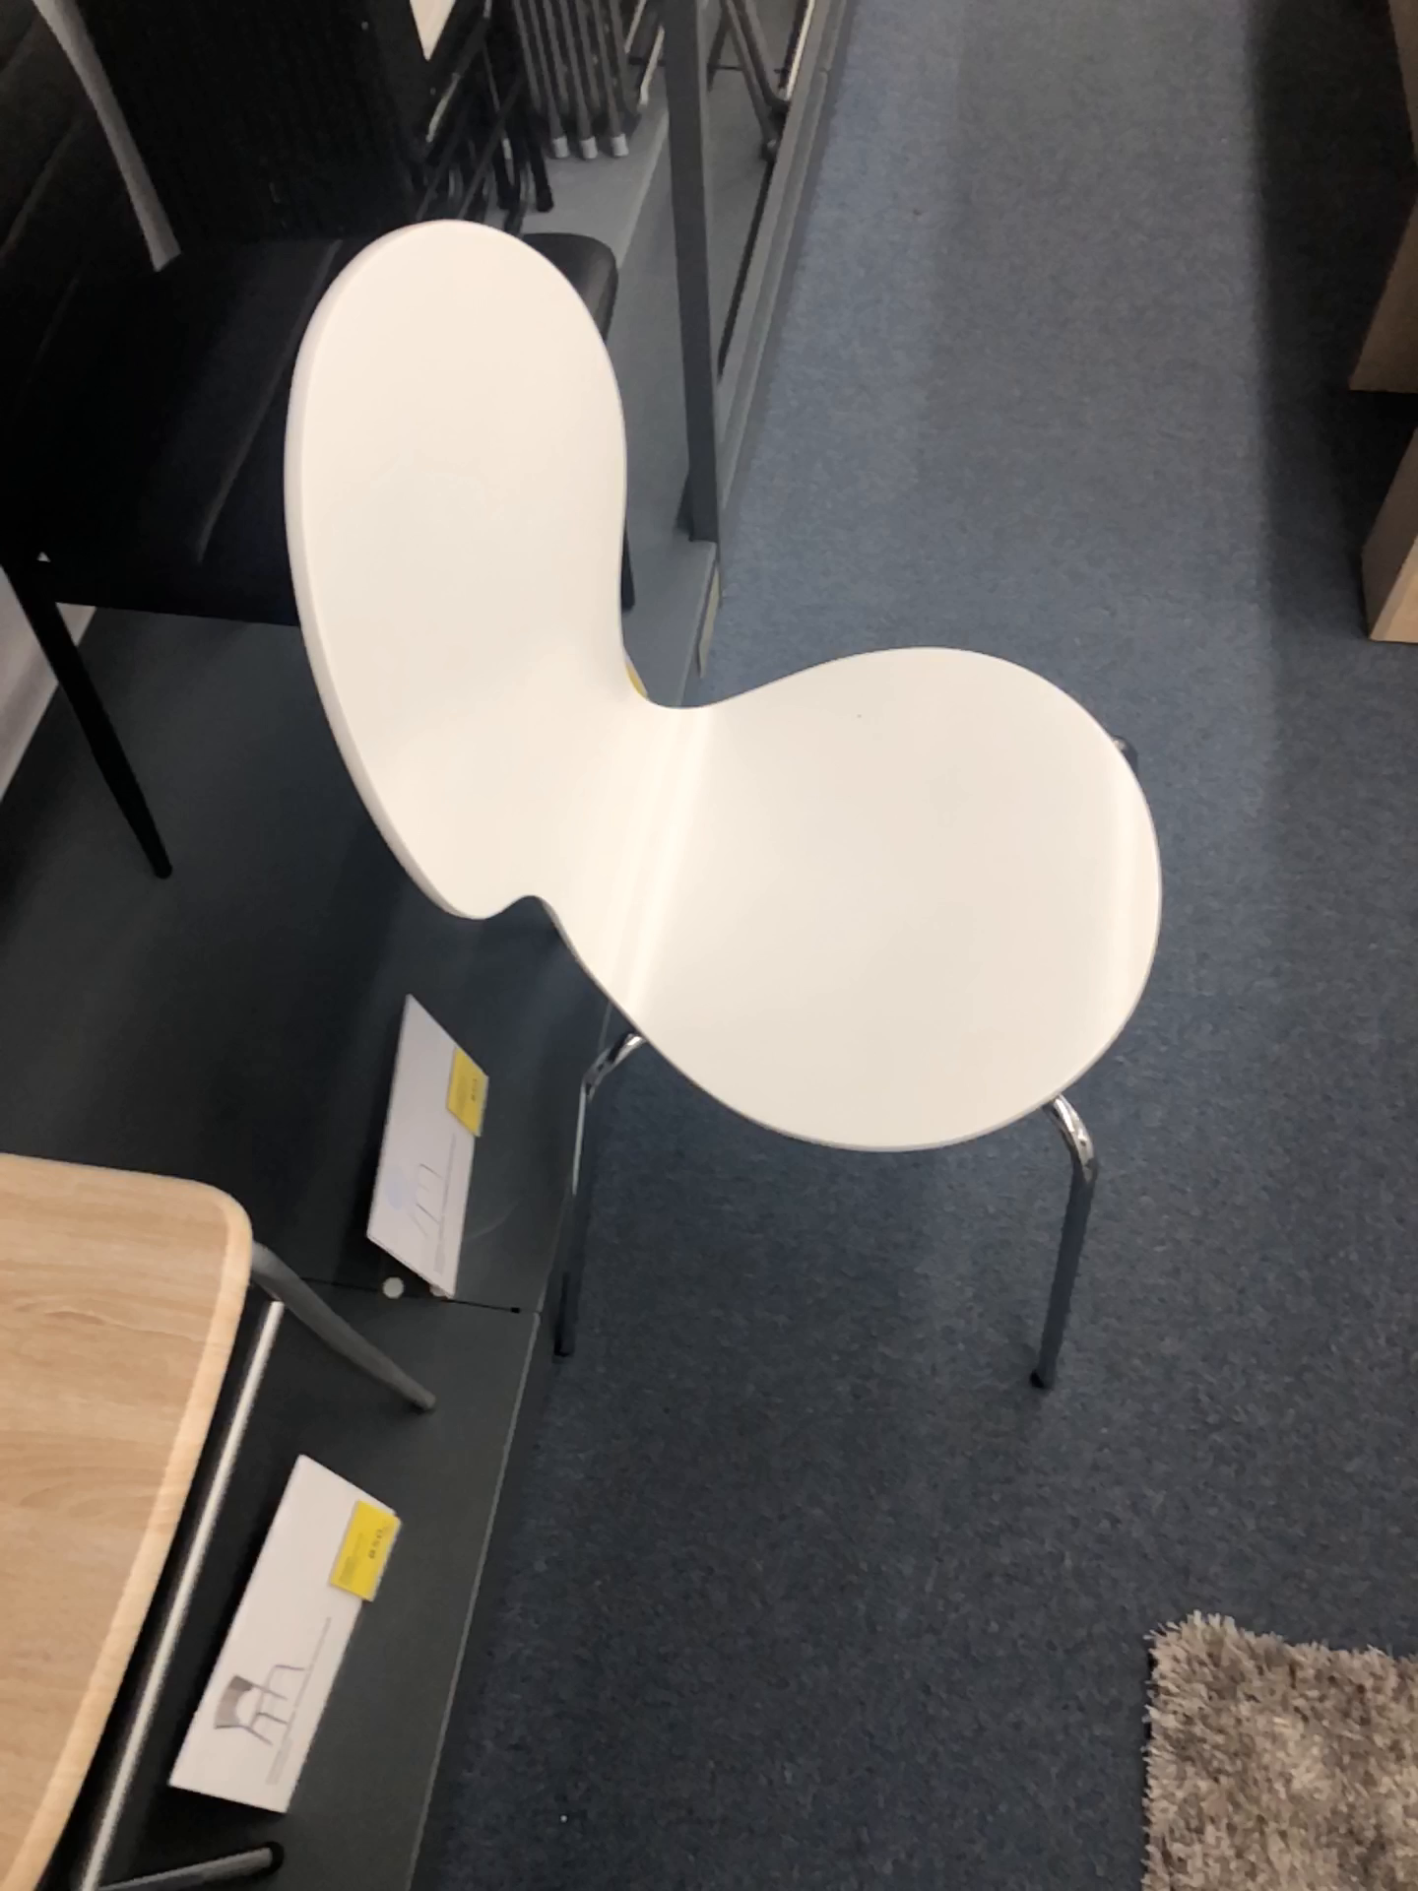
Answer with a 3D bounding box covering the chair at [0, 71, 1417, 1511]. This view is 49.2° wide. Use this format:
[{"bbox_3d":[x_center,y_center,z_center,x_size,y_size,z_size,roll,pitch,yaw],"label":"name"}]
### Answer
[{"bbox_3d":[0.041,-0.041,1.137,0.640,0.818,0.561,13,60,10],"label":"chair"}]
